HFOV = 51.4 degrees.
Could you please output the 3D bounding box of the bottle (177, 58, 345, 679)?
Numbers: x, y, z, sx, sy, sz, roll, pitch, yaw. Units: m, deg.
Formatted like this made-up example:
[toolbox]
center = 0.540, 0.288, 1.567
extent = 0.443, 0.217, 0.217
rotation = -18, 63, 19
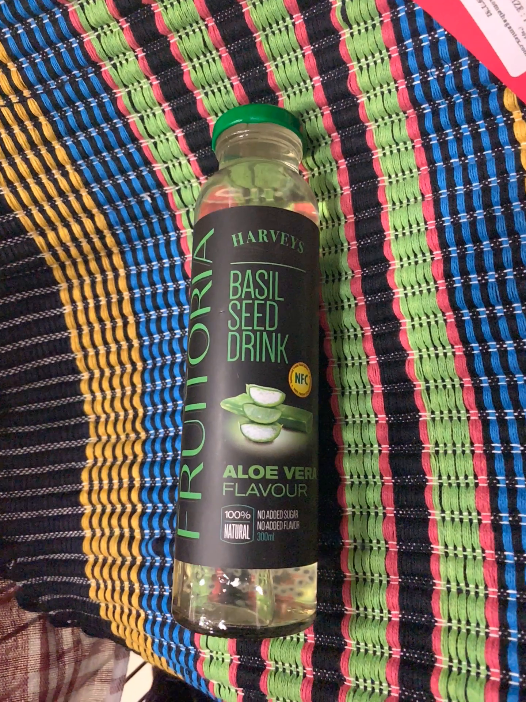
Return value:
[bottle]
center = -0.005, 0.001, 0.206
extent = 0.050, 0.060, 0.200
rotation = -1, 81, -5
